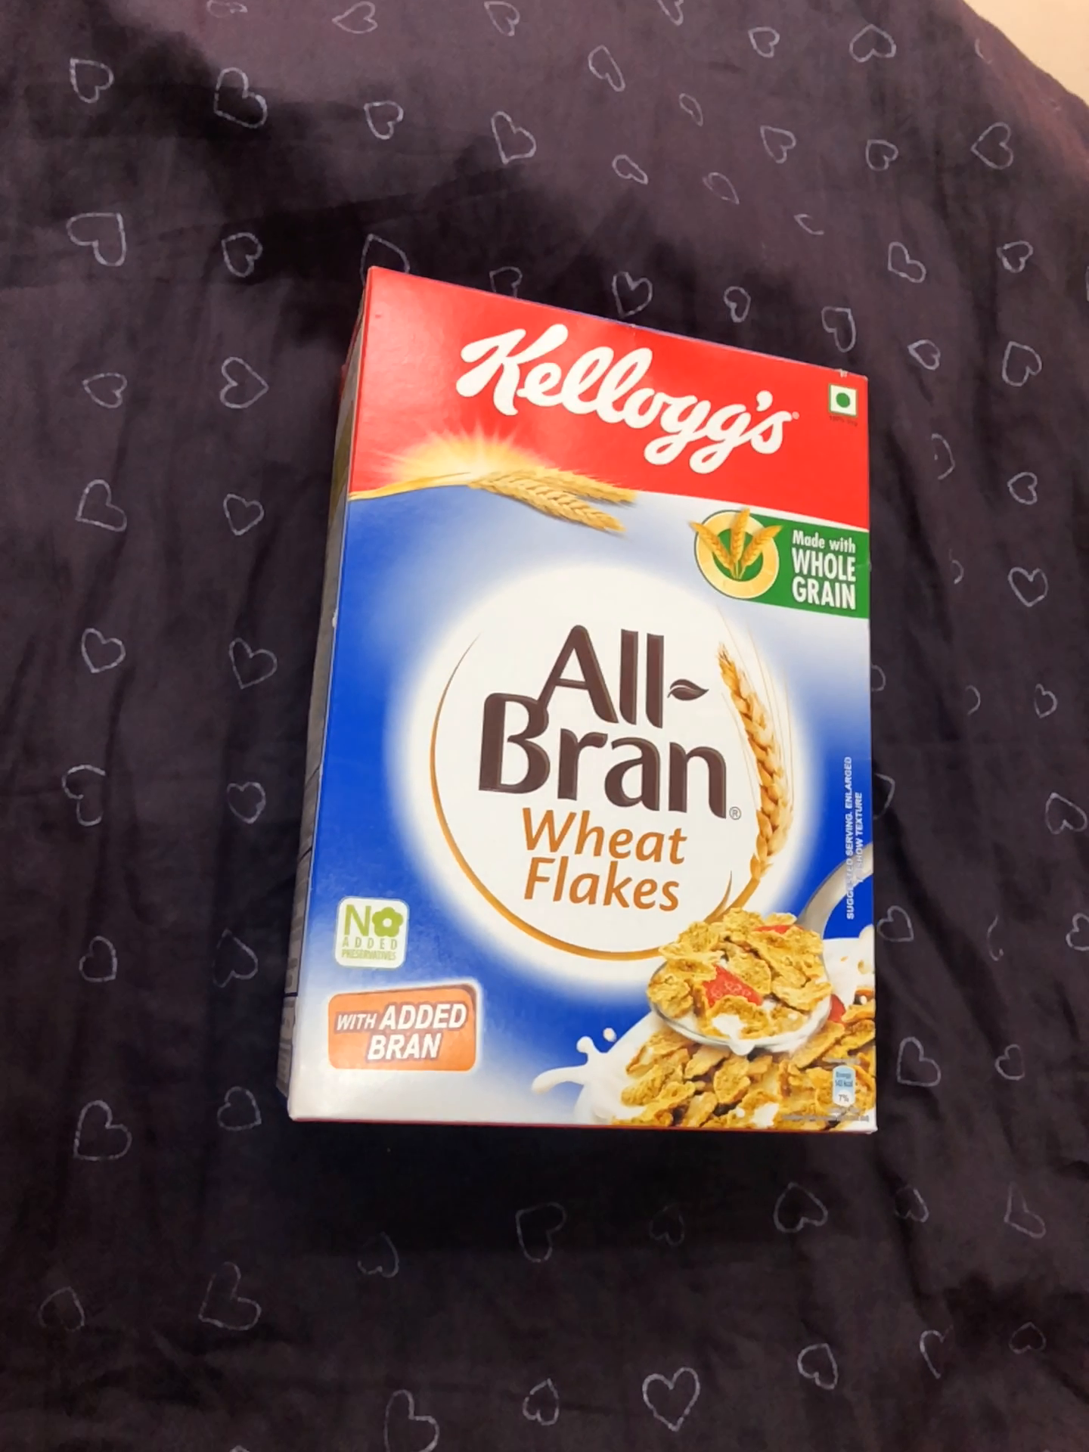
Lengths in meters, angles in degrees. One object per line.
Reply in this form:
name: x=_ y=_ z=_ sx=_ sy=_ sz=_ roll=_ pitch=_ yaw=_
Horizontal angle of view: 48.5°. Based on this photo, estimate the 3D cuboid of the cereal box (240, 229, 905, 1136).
cereal box: x=0.014 y=-0.007 z=0.398 sx=0.190 sy=0.070 sz=0.260 roll=7 pitch=76 yaw=-16
